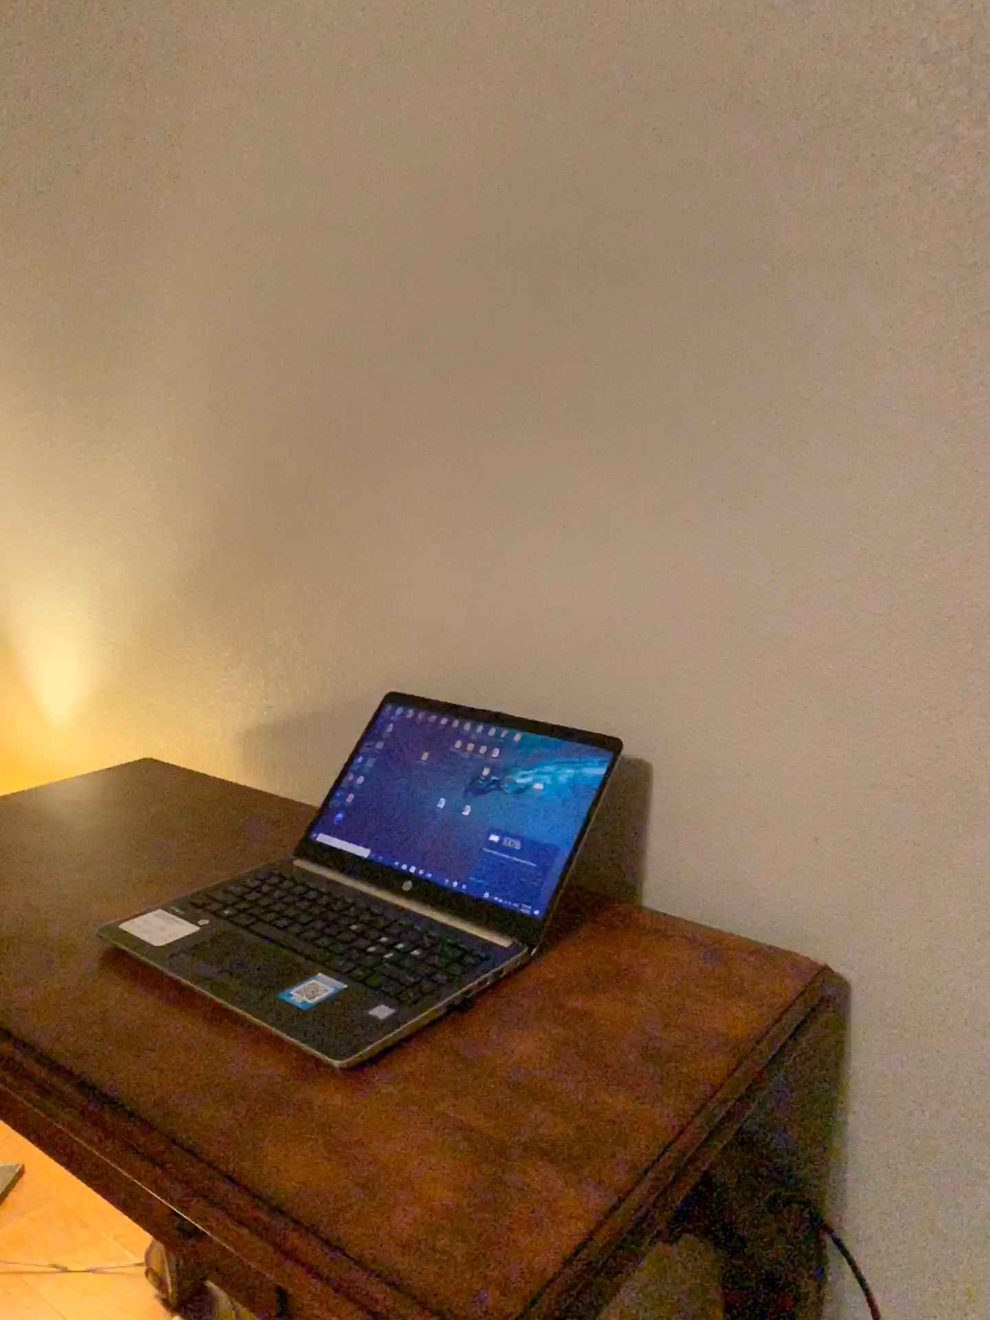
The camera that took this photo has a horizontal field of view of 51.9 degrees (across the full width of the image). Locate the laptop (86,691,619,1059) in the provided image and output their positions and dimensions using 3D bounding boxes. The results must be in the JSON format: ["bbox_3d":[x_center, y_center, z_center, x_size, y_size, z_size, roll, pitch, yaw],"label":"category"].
[{"bbox_3d":[-0.120,0.157,0.939,0.317,0.152,0.368,10,14,38],"label":"laptop"}]
